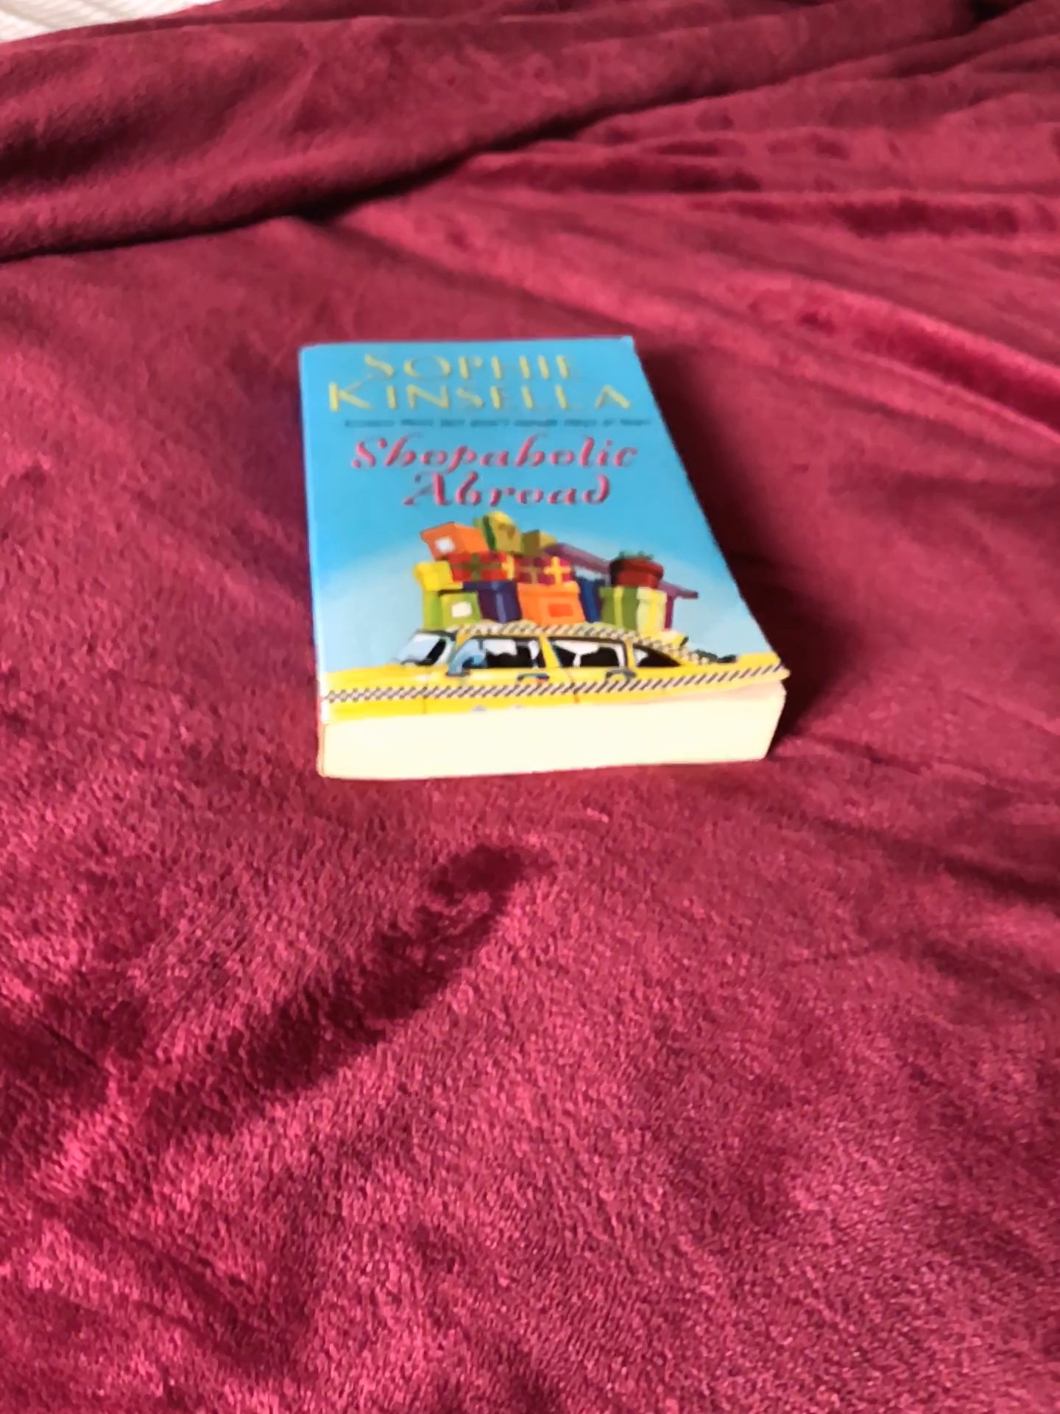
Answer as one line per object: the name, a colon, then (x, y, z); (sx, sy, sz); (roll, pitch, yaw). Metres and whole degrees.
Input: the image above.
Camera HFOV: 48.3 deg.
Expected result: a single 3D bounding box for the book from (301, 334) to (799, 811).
book: (-0.007, -0.059, 0.394); (0.129, 0.035, 0.201); (-3, 46, -10)
